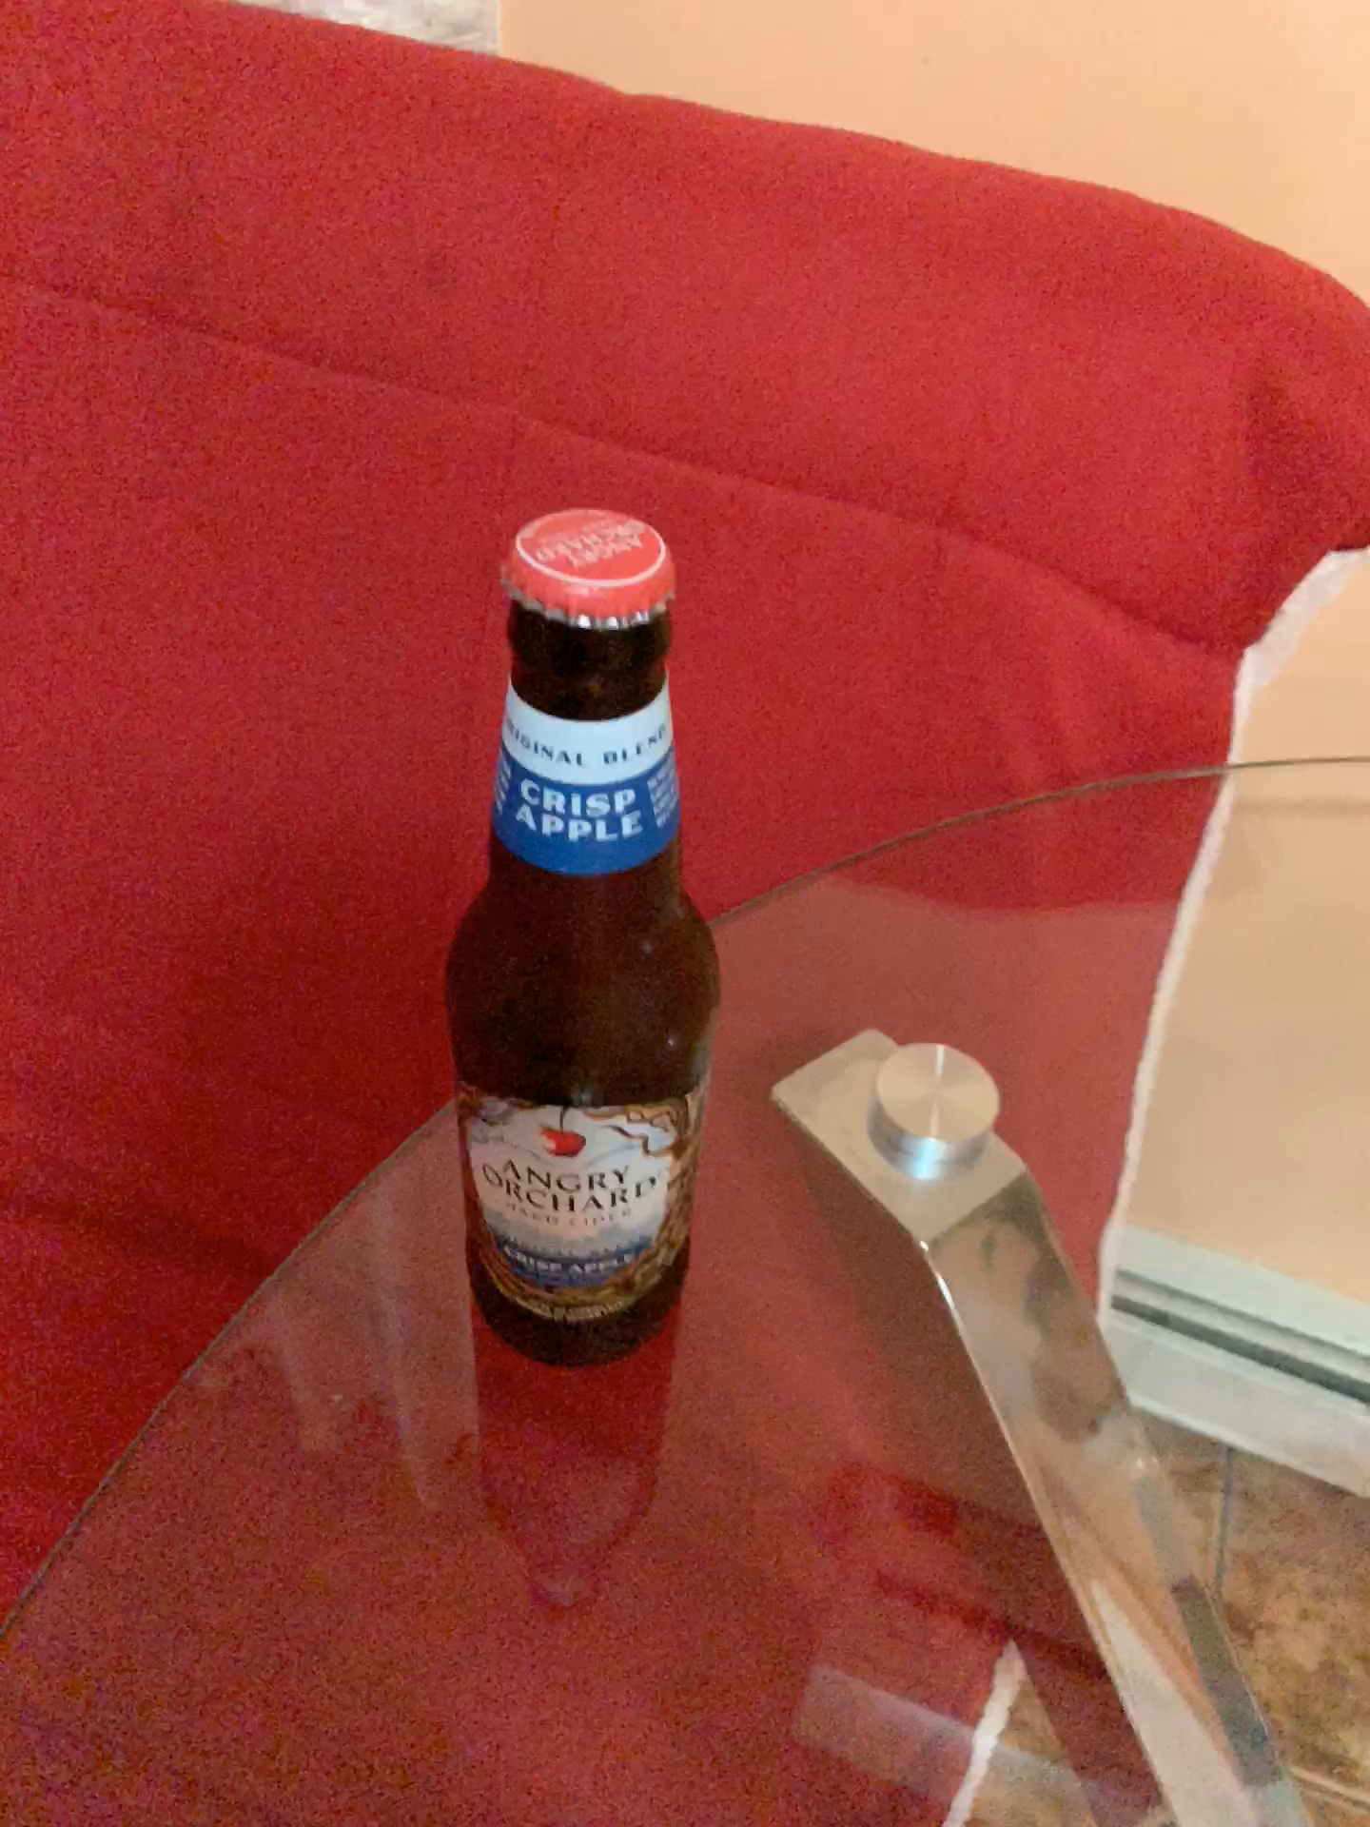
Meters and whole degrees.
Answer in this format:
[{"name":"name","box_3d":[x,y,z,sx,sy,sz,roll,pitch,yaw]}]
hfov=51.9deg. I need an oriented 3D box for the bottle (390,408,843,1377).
[{"name":"bottle","box_3d":[-0.019,0.014,0.322,0.070,0.231,0.070,3,44,-3]}]
